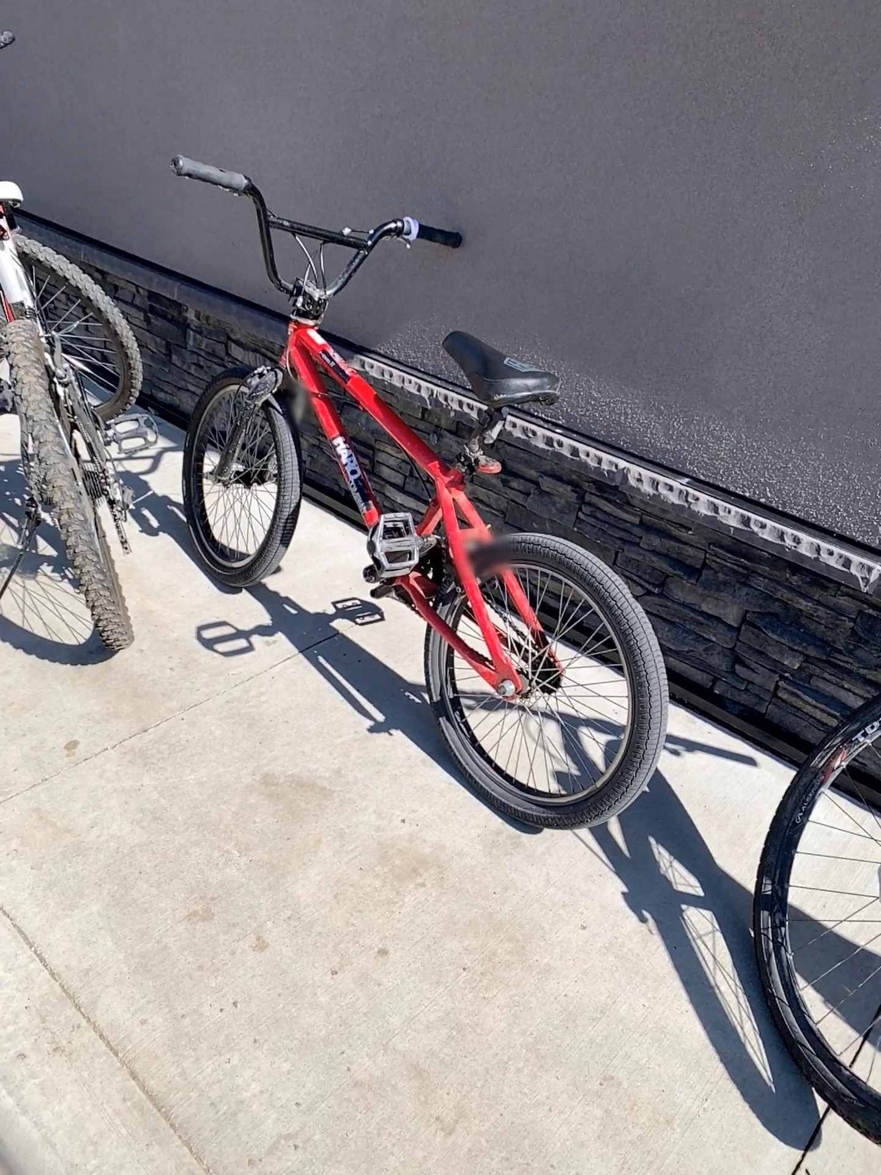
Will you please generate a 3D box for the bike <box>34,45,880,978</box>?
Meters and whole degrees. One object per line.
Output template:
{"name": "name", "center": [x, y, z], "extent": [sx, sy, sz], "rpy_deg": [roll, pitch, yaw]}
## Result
{"name": "bike", "center": [-0.035, -0.291, 1.645], "extent": [0.775, 0.908, 1.316], "rpy_deg": [-20, 44, -39]}
